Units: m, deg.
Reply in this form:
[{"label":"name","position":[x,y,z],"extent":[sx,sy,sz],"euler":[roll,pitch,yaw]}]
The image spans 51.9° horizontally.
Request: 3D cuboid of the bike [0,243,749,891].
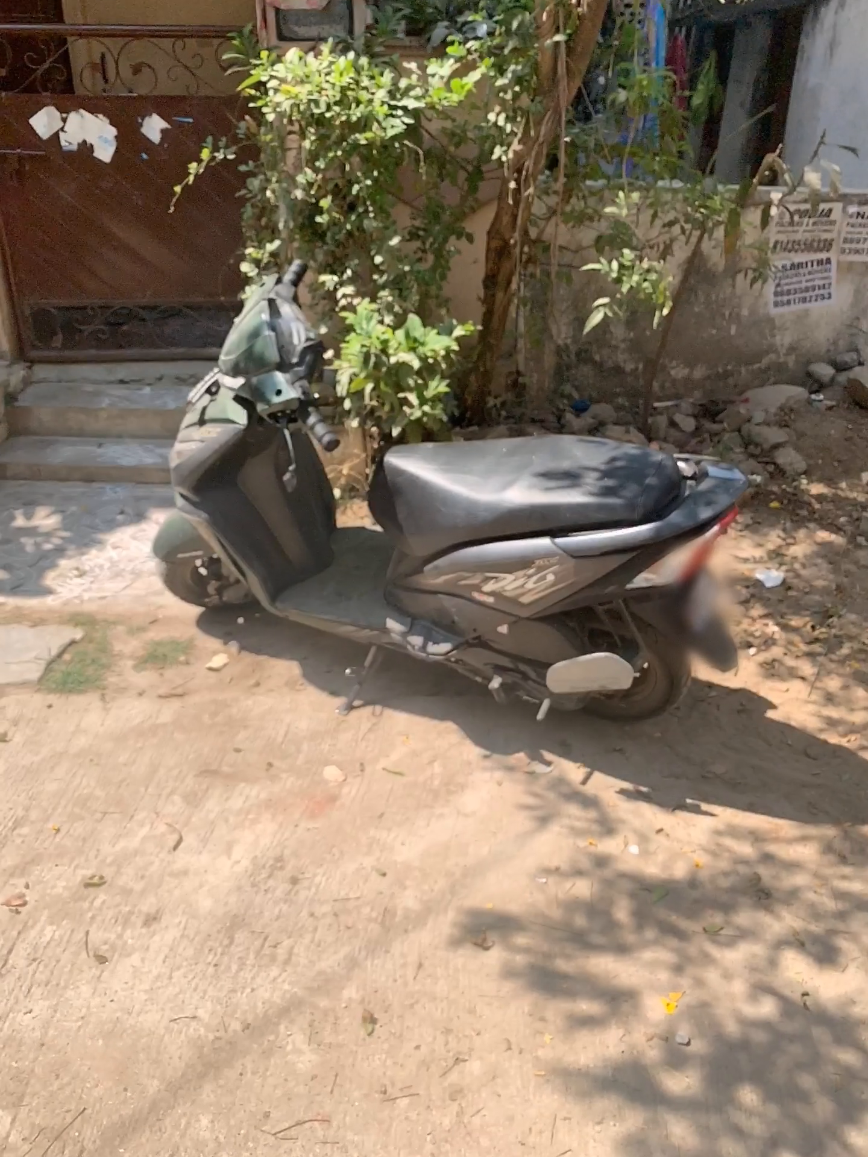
[{"label":"bike","position":[-0.179,-0.090,2.157],"extent":[1.529,1.175,0.626],"euler":[10,29,15]}]
